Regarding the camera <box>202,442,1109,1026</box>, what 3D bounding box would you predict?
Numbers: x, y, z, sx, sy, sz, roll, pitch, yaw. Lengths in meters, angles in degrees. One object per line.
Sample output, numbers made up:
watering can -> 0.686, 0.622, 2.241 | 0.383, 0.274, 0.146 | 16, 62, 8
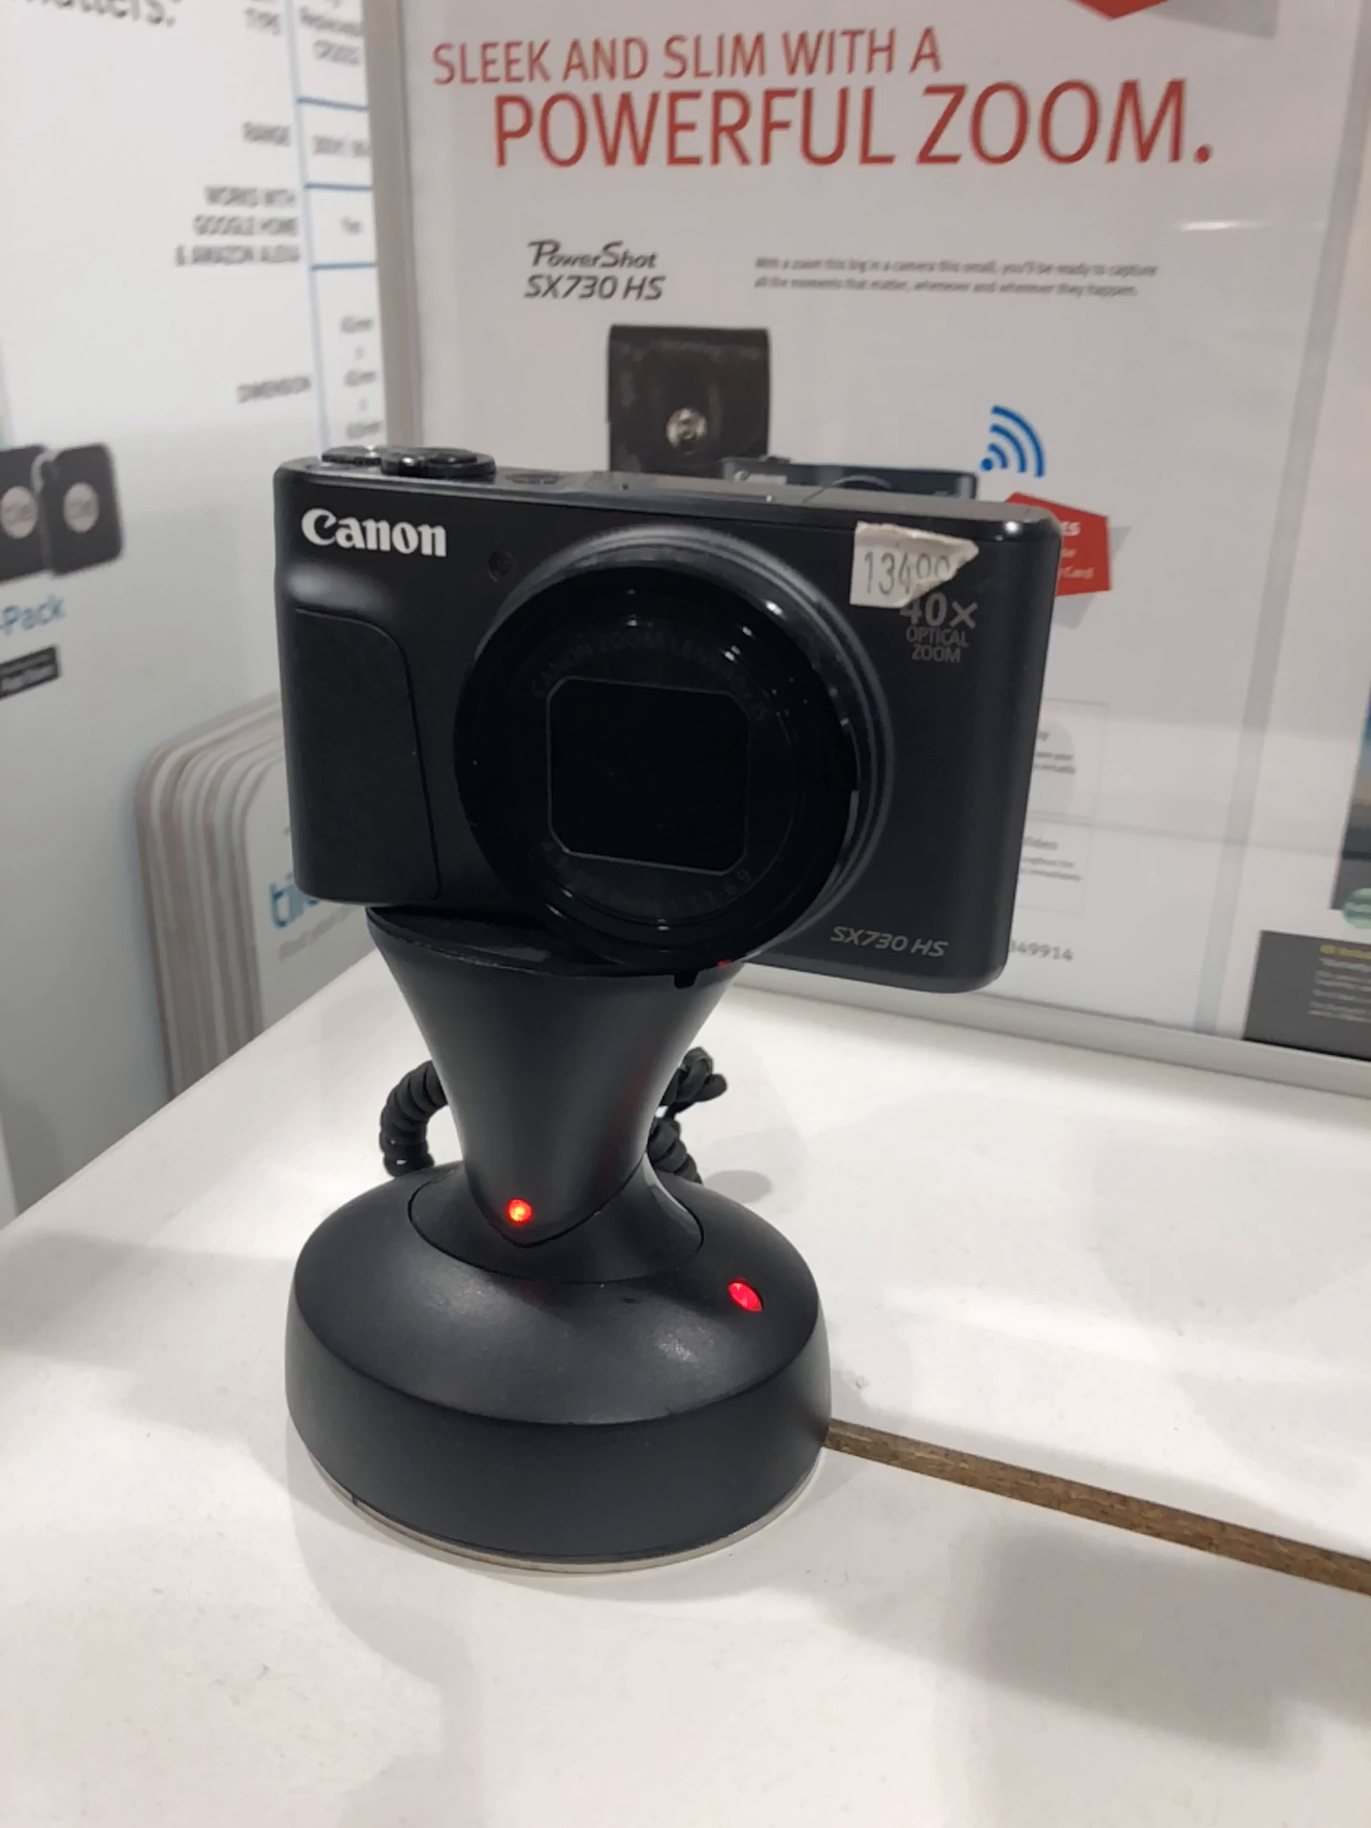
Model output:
camera -> -0.004, -0.029, 0.209 | 0.110, 0.060, 0.040 | 8, 24, 16
